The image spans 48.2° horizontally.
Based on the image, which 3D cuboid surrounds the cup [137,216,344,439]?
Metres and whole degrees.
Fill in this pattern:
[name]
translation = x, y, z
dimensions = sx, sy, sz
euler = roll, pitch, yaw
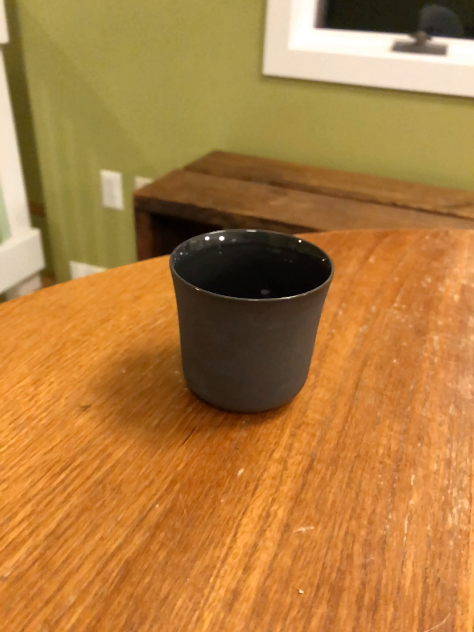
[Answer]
[cup]
translation = 0.005, 0.001, 0.259
dimensions = 0.079, 0.068, 0.075
euler = 2, 31, -1
